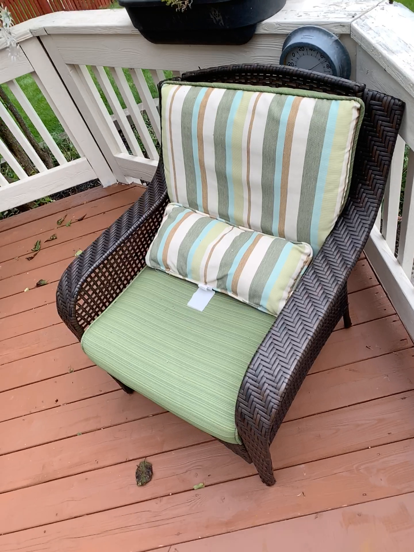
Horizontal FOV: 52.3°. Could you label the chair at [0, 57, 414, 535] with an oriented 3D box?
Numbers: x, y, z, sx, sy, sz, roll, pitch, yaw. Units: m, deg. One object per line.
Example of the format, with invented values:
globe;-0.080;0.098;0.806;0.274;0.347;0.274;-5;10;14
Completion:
chair;-0.001;0.001;1.230;0.813;0.825;0.860;22;61;34
